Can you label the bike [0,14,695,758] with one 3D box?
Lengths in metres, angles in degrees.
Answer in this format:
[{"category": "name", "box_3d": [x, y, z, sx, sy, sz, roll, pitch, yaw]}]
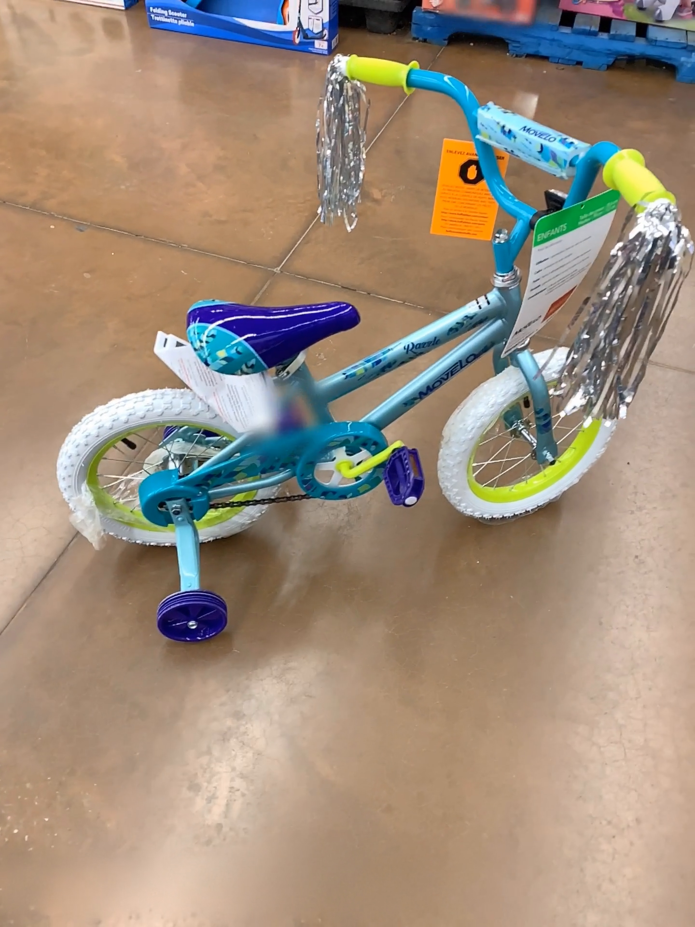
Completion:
[{"category": "bike", "box_3d": [0.037, -0.132, 0.949, 0.859, 0.639, 0.625, -10, 49, -12]}]
